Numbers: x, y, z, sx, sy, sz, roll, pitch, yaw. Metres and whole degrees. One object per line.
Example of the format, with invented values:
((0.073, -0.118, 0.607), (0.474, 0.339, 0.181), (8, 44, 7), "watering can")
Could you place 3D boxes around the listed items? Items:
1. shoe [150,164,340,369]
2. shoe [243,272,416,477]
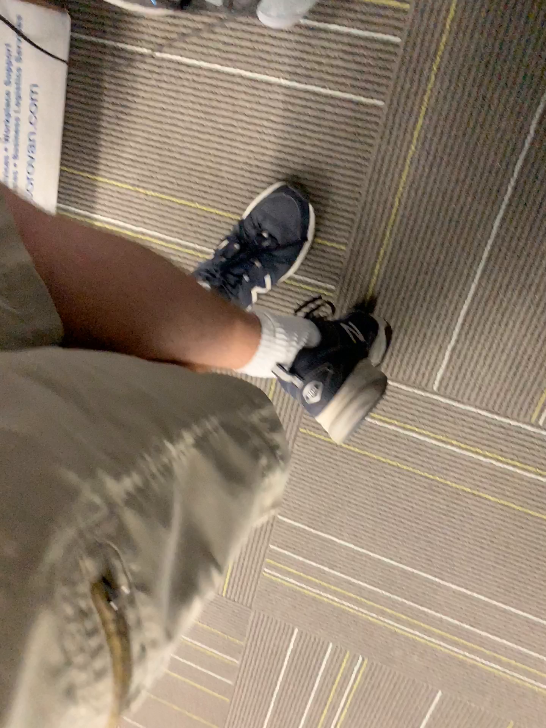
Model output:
((-0.049, -0.141, 0.852), (0.120, 0.077, 0.298), (44, 119, -1), "shoe")
((0.092, -0.004, 0.765), (0.129, 0.292, 0.123), (38, 120, 0), "shoe")
